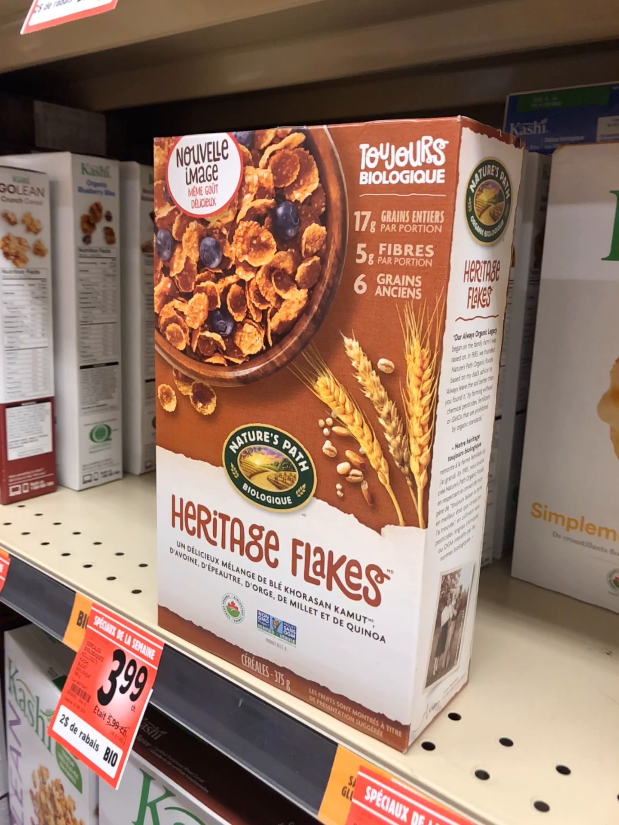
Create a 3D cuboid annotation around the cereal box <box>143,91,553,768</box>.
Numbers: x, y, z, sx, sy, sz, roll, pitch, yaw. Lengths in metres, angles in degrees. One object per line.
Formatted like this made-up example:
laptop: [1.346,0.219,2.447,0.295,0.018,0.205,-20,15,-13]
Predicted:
cereal box: [0.007,0.000,0.331,0.170,0.259,0.070,12,17,36]
